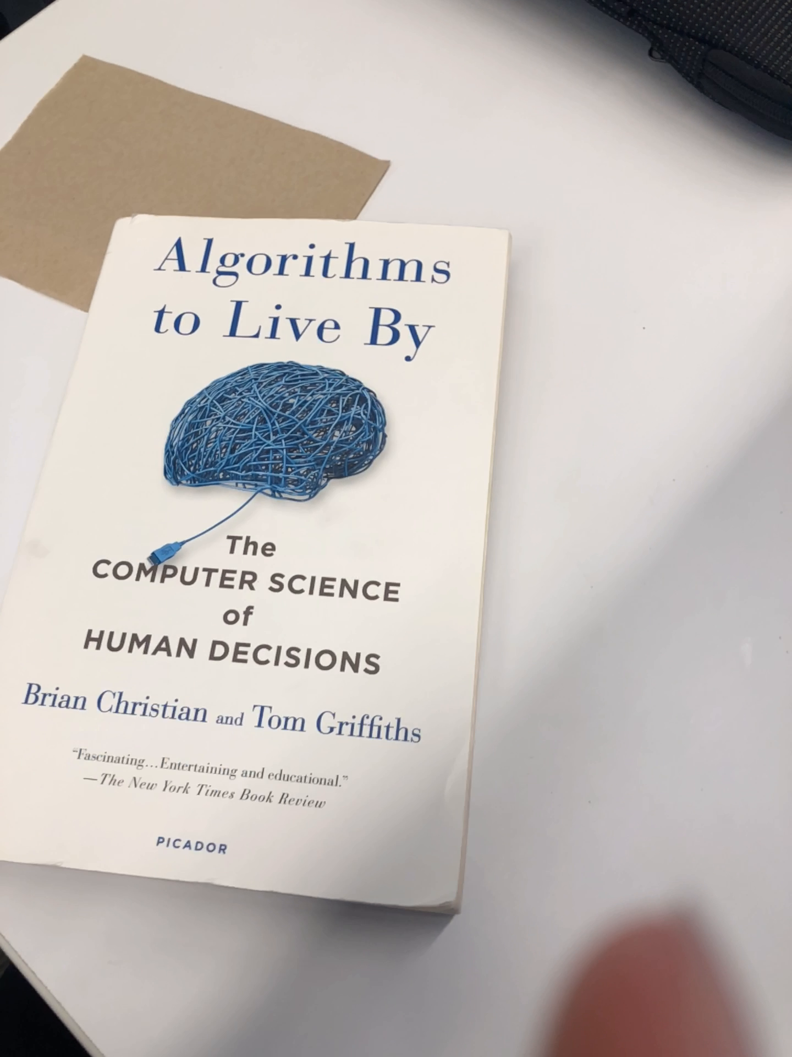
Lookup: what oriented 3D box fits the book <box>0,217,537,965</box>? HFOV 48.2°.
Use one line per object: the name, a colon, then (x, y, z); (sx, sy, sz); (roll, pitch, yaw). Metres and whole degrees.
book: (-0.043, 0.004, 0.278); (0.160, 0.040, 0.220); (4, 66, 6)
